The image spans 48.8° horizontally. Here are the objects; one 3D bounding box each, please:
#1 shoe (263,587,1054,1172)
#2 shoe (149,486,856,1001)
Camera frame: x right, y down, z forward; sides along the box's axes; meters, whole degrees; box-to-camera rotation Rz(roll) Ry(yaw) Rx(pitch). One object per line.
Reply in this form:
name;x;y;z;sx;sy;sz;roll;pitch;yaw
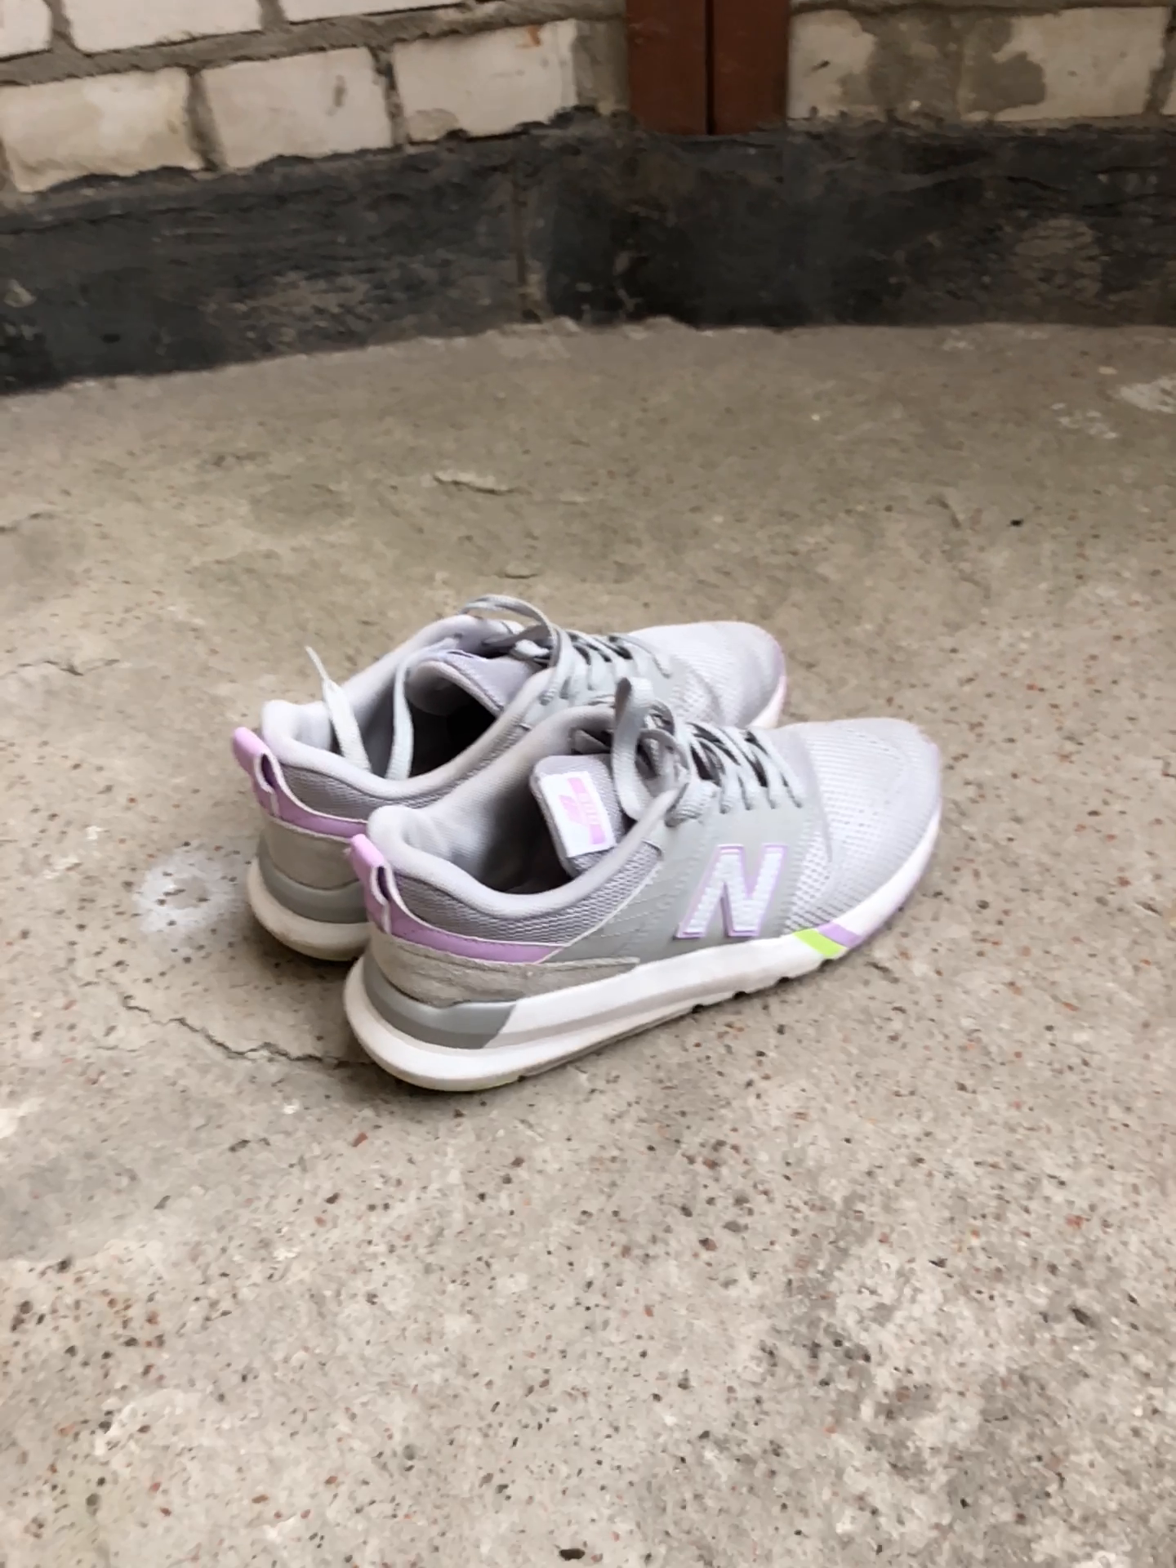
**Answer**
shoe;0.029;0.025;0.505;0.270;0.099;0.111;-19;44;-21
shoe;-0.030;-0.029;0.563;0.270;0.099;0.111;-22;44;-24
